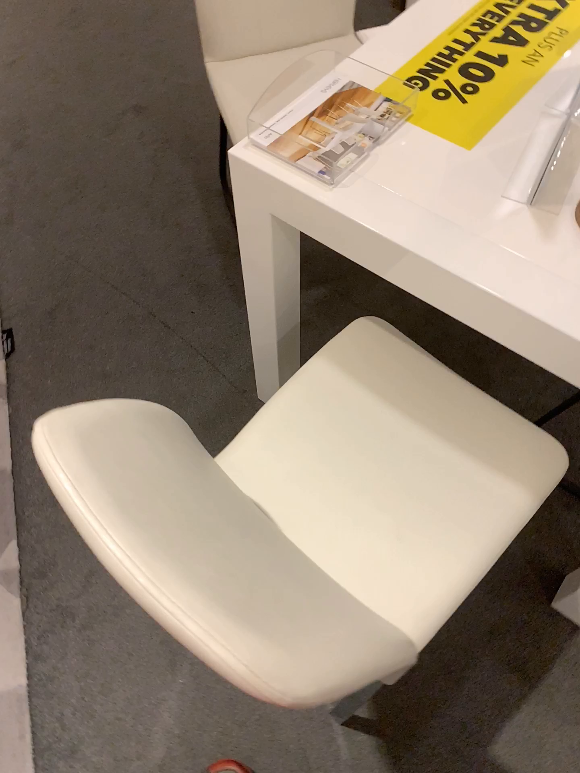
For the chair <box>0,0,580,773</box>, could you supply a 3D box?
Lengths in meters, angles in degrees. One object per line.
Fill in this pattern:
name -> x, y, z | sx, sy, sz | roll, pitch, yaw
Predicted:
chair -> 0.109, 0.129, 0.874 | 0.481, 0.958, 0.646 | 40, 68, 21
